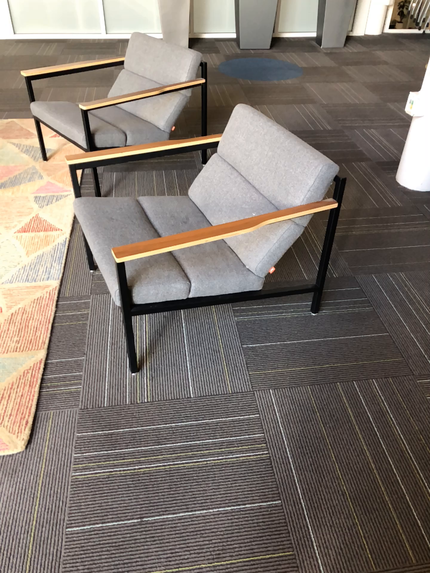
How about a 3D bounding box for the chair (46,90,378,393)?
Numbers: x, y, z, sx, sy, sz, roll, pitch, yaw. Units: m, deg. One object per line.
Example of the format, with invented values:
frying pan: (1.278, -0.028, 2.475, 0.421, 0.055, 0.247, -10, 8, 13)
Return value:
chair: (-0.049, -0.250, 1.892, 0.921, 0.696, 0.794, -18, 42, -20)
